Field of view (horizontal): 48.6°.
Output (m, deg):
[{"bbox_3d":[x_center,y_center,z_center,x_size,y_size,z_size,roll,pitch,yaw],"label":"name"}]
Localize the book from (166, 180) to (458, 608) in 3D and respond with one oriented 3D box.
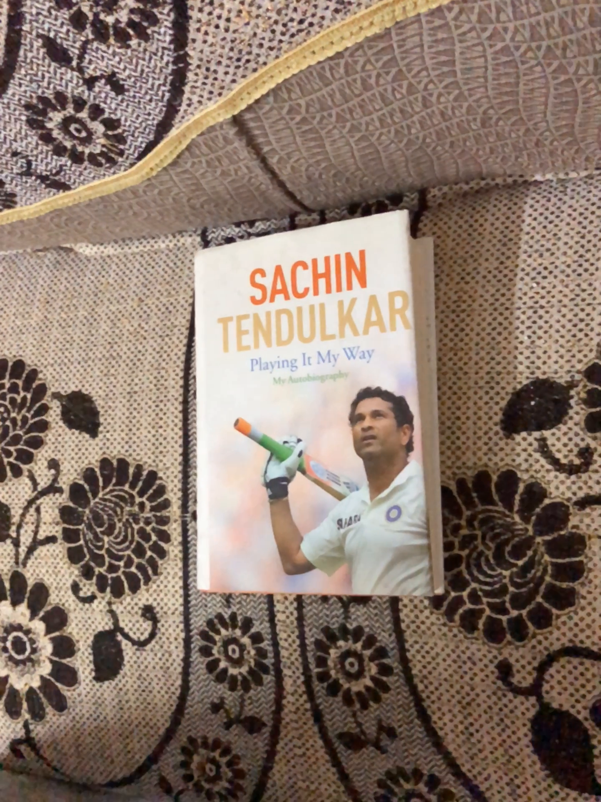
[{"bbox_3d":[0.006,0.001,0.462,0.180,0.070,0.260,-5,80,21],"label":"book"}]
